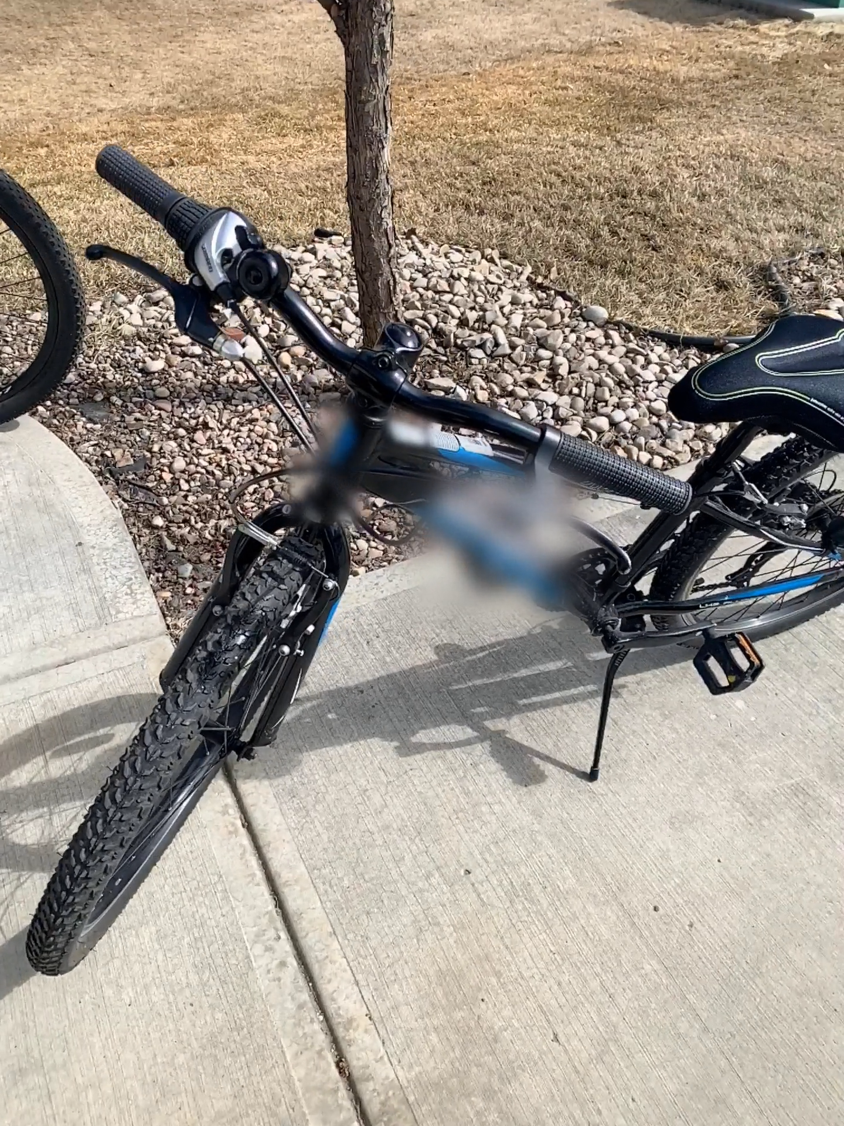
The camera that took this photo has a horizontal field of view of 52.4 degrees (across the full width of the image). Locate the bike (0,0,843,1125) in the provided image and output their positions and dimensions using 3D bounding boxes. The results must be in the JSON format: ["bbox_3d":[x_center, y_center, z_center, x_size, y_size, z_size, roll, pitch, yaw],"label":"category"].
[{"bbox_3d":[0.233,0.065,0.967,1.391,0.885,0.516,-23,47,-15],"label":"bike"}]
